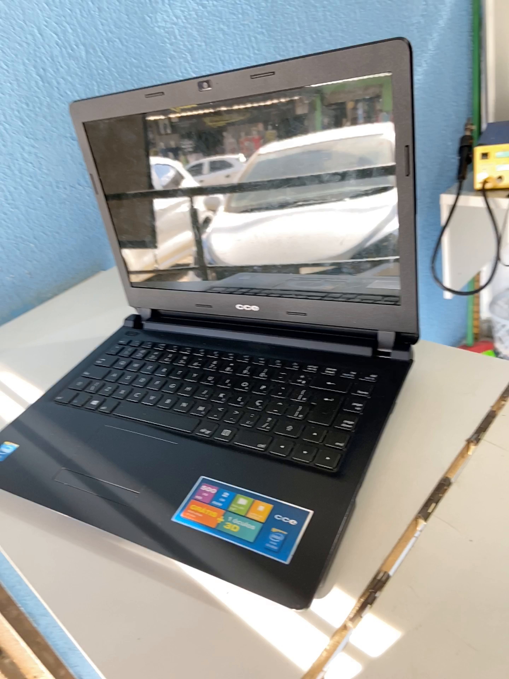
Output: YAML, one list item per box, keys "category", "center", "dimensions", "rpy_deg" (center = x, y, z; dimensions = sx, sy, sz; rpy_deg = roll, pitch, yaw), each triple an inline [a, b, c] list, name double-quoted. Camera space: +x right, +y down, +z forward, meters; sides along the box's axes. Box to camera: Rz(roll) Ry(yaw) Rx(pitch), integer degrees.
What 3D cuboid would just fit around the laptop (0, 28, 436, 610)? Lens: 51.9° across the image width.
- category: "laptop"
  center: [-0.072, -0.043, 0.389]
  dimensions: [0.324, 0.216, 0.268]
  rpy_deg: [6, 38, 32]
